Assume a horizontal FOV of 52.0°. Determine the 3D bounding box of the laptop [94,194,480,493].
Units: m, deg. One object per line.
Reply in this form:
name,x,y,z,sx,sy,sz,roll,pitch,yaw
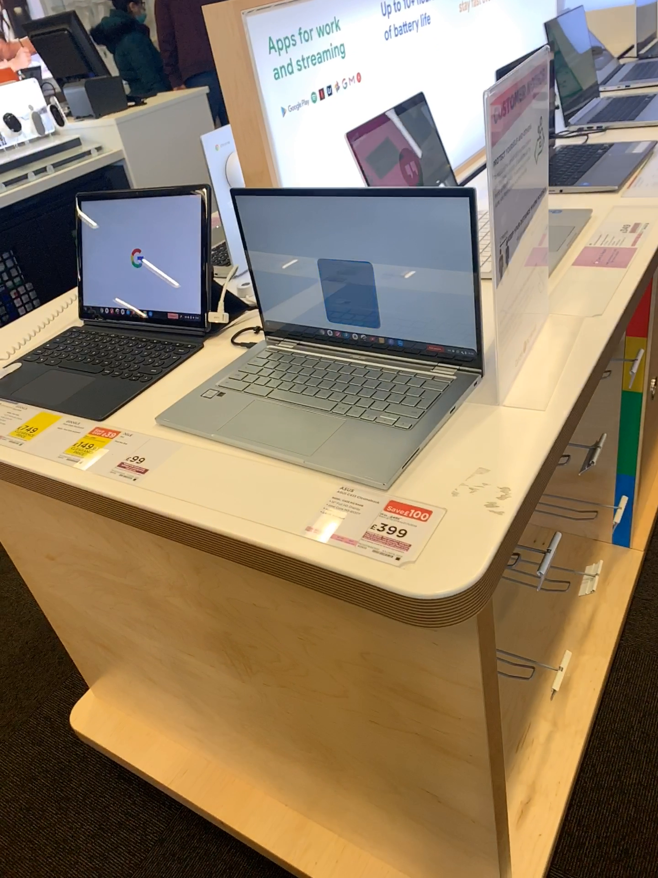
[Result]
laptop,-0.037,-0.123,0.707,0.318,0.195,0.204,14,42,35
